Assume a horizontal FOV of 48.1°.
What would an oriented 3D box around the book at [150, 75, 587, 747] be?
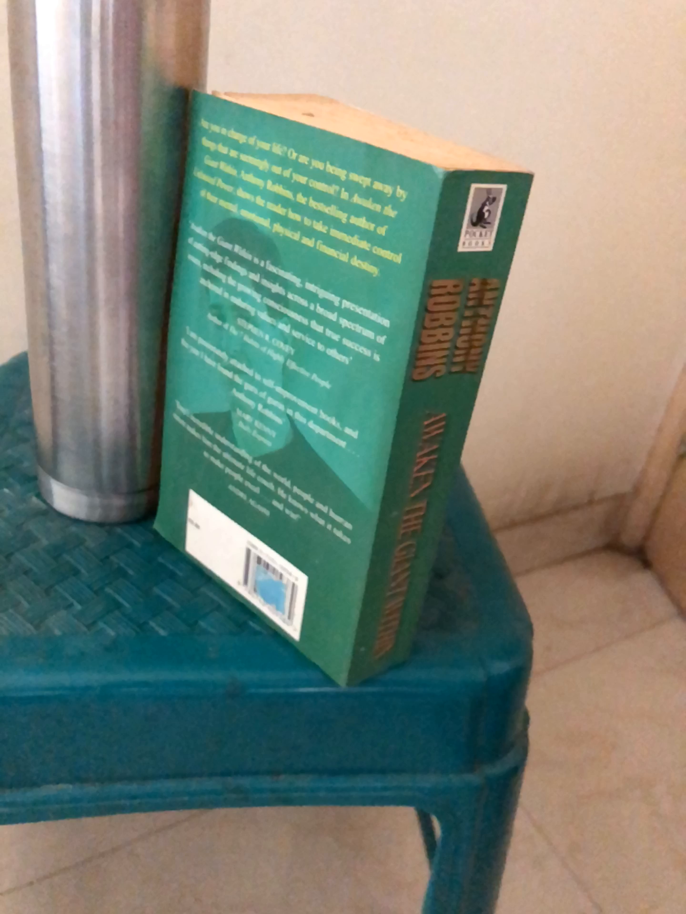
[{"bbox_3d":[-0.013,-0.017,0.285,0.050,0.199,0.140,-19,42,-37],"label":"book"}]
